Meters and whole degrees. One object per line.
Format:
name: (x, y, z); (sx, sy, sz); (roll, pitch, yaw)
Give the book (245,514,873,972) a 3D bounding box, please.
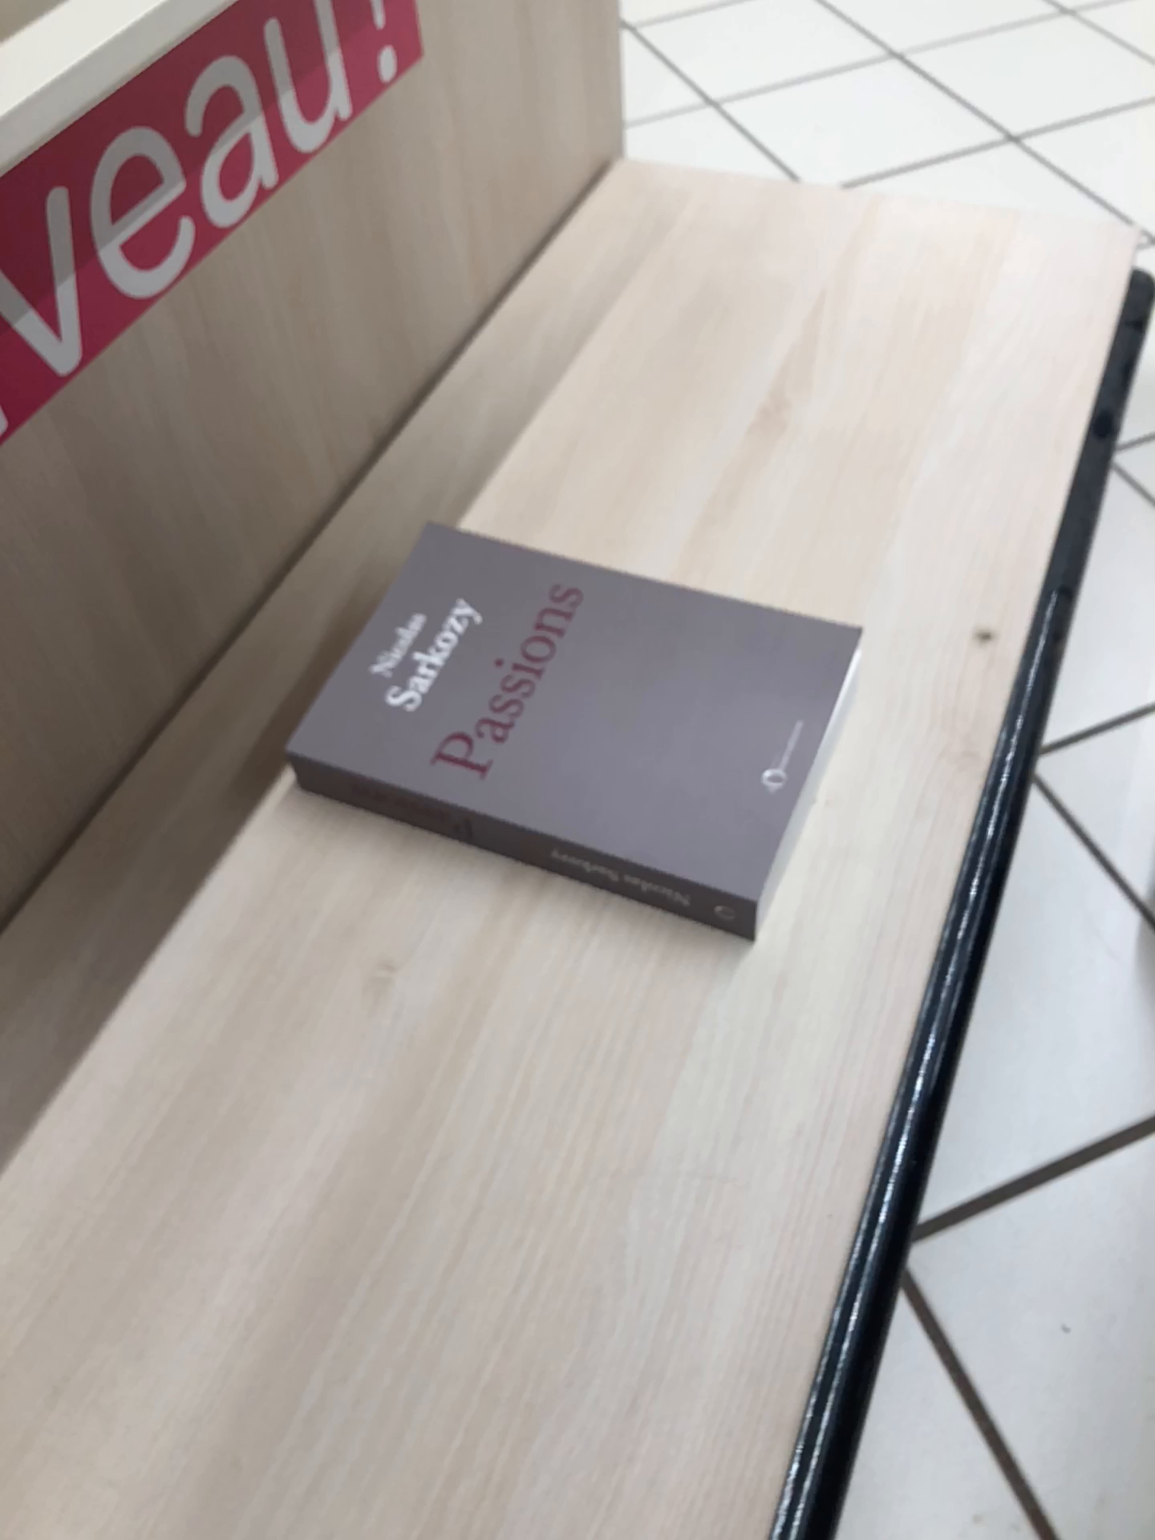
book: (-0.003, -0.022, 0.564); (0.224, 0.044, 0.157); (16, 54, 16)
